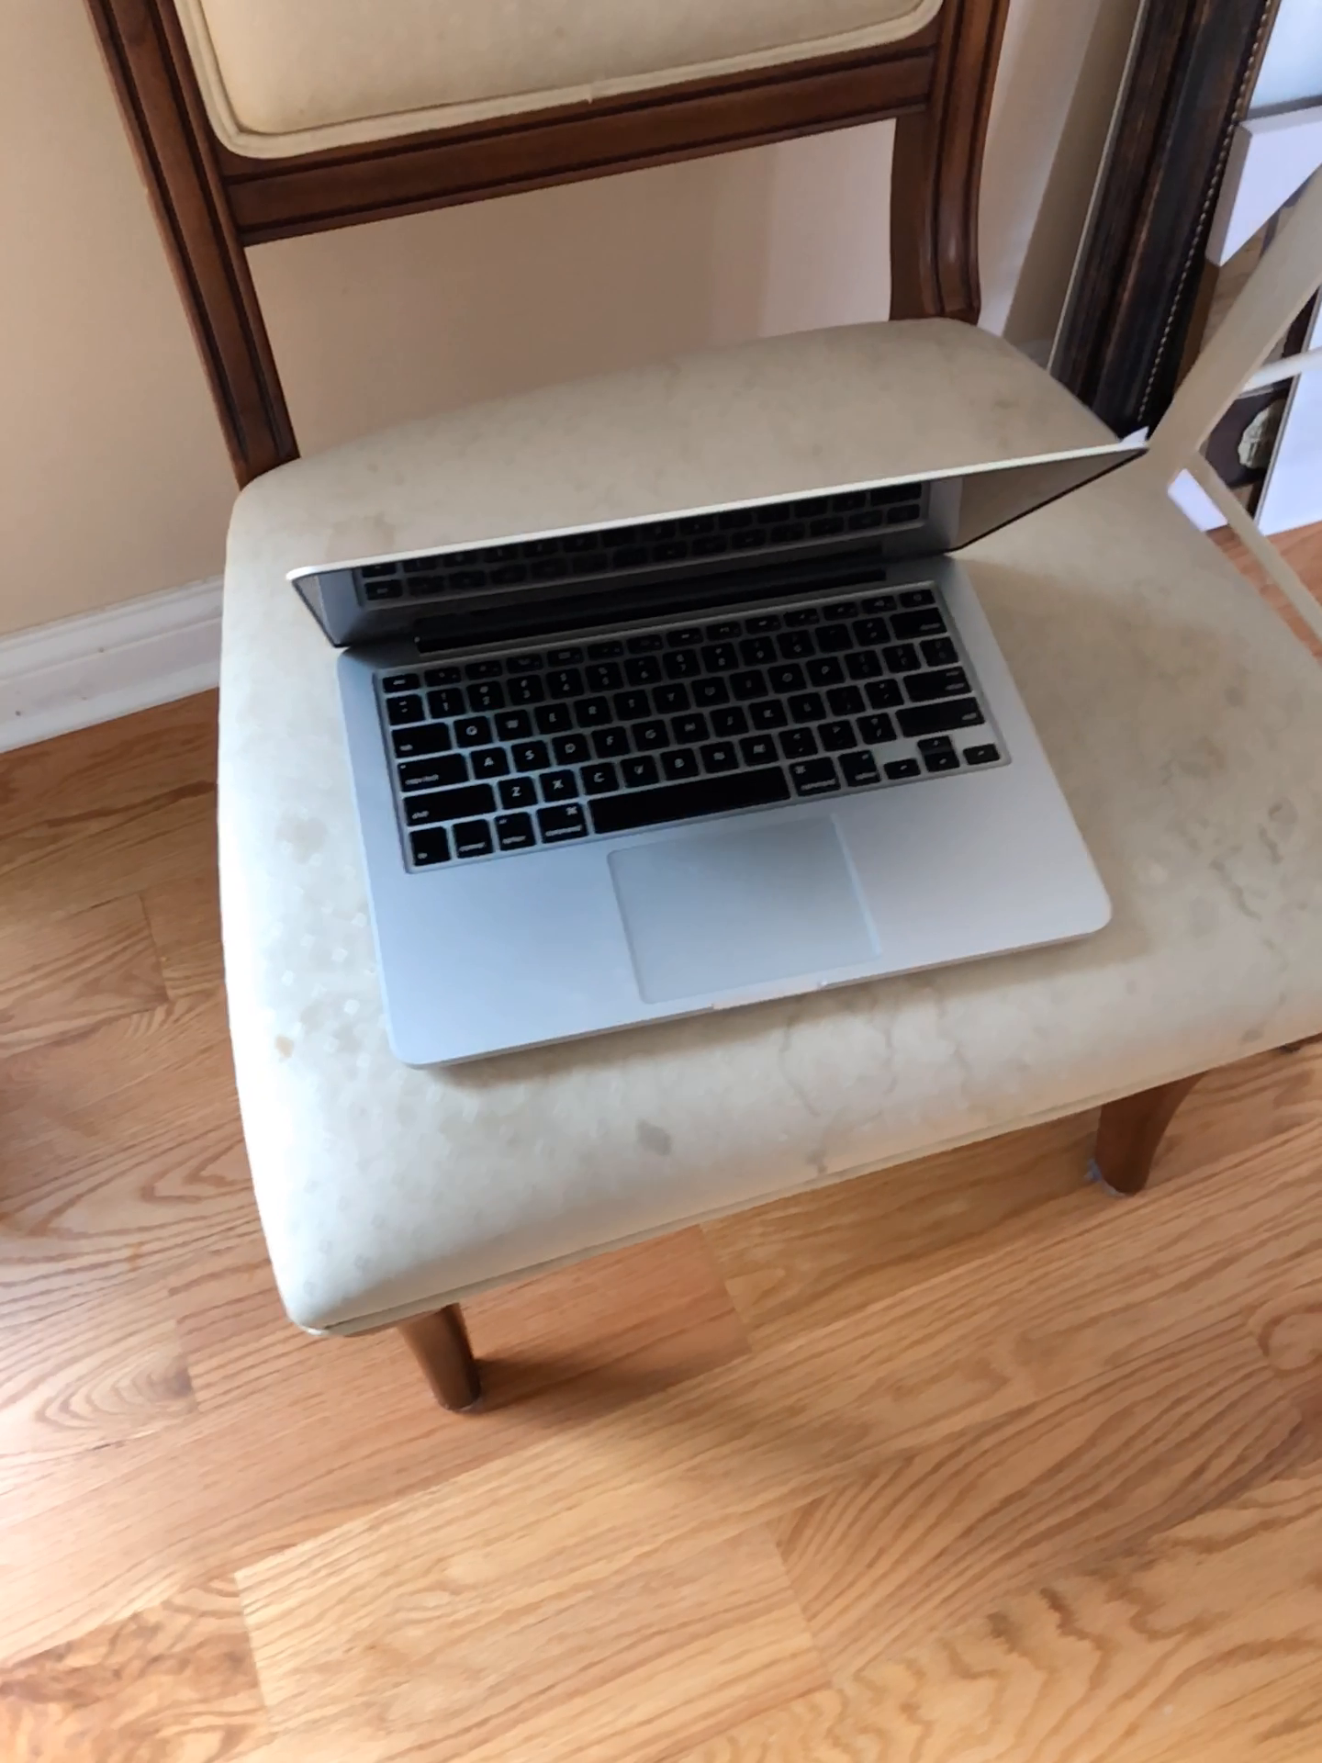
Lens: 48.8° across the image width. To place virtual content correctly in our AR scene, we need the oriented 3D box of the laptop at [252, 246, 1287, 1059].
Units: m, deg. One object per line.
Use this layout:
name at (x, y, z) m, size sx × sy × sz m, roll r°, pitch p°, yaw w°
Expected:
laptop at (0.023, -0.090, 0.584) m, size 0.309 × 0.183 × 0.219 m, roll -11°, pitch 61°, yaw -7°
